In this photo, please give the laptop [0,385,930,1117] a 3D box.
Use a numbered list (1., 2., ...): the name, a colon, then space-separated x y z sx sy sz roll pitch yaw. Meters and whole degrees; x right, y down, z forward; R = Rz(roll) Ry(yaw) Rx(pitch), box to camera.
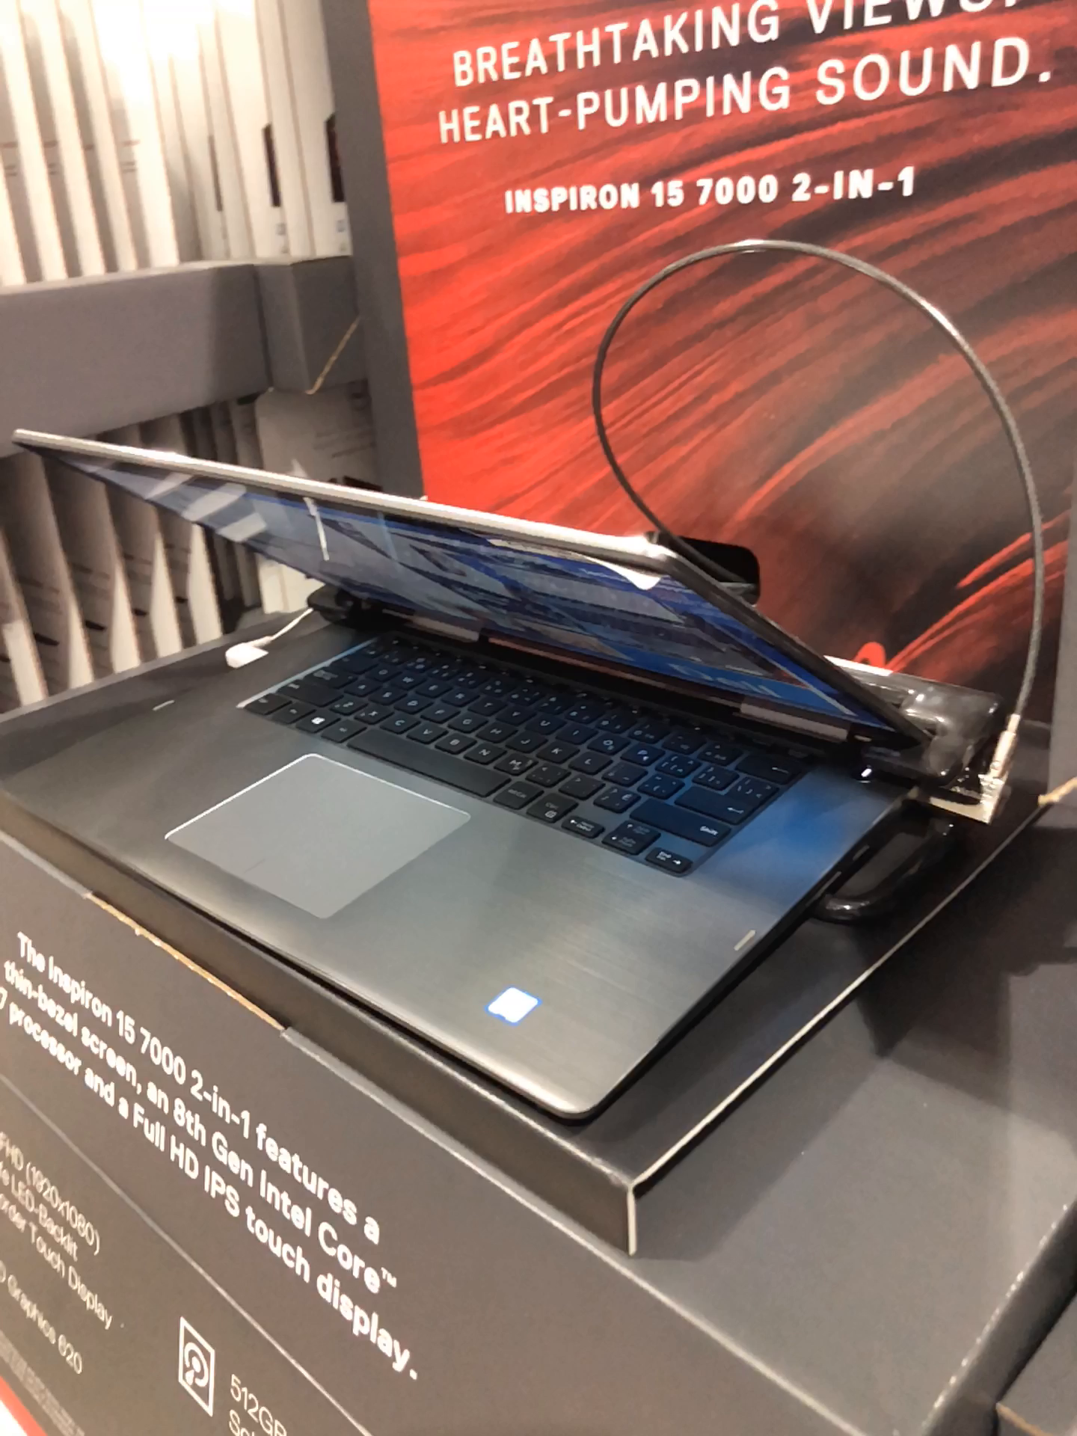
1. laptop: -0.056 -0.034 0.495 0.356 0.137 0.212 17 34 39
